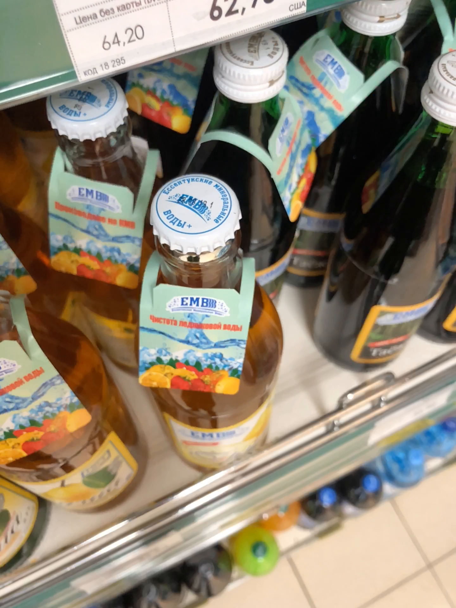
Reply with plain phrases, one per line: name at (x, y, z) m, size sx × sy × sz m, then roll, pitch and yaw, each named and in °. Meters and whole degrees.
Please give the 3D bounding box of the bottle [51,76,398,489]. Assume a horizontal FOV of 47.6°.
bottle at (-0.004, 0.021, 0.258) m, size 0.080 × 0.234 × 0.070 m, roll -26°, pitch 65°, yaw -14°
